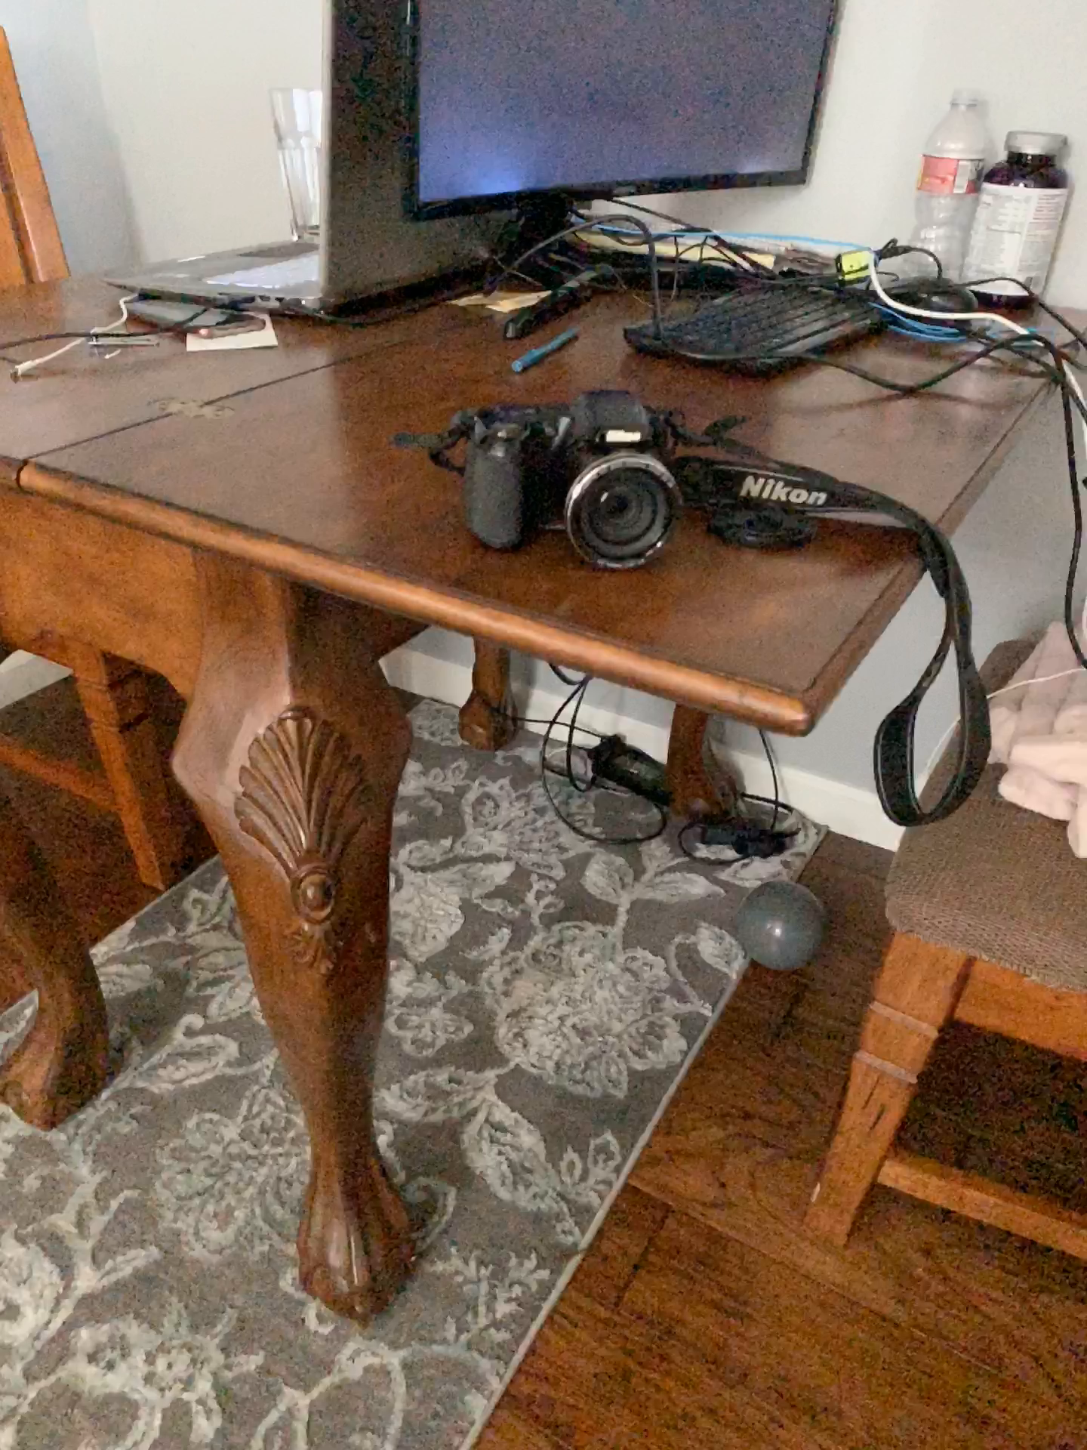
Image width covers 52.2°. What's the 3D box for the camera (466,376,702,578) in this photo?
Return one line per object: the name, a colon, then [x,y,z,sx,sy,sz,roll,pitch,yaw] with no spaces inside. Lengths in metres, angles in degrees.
camera: [0.017,-0.136,0.595,0.110,0.079,0.091,-2,31,-7]
